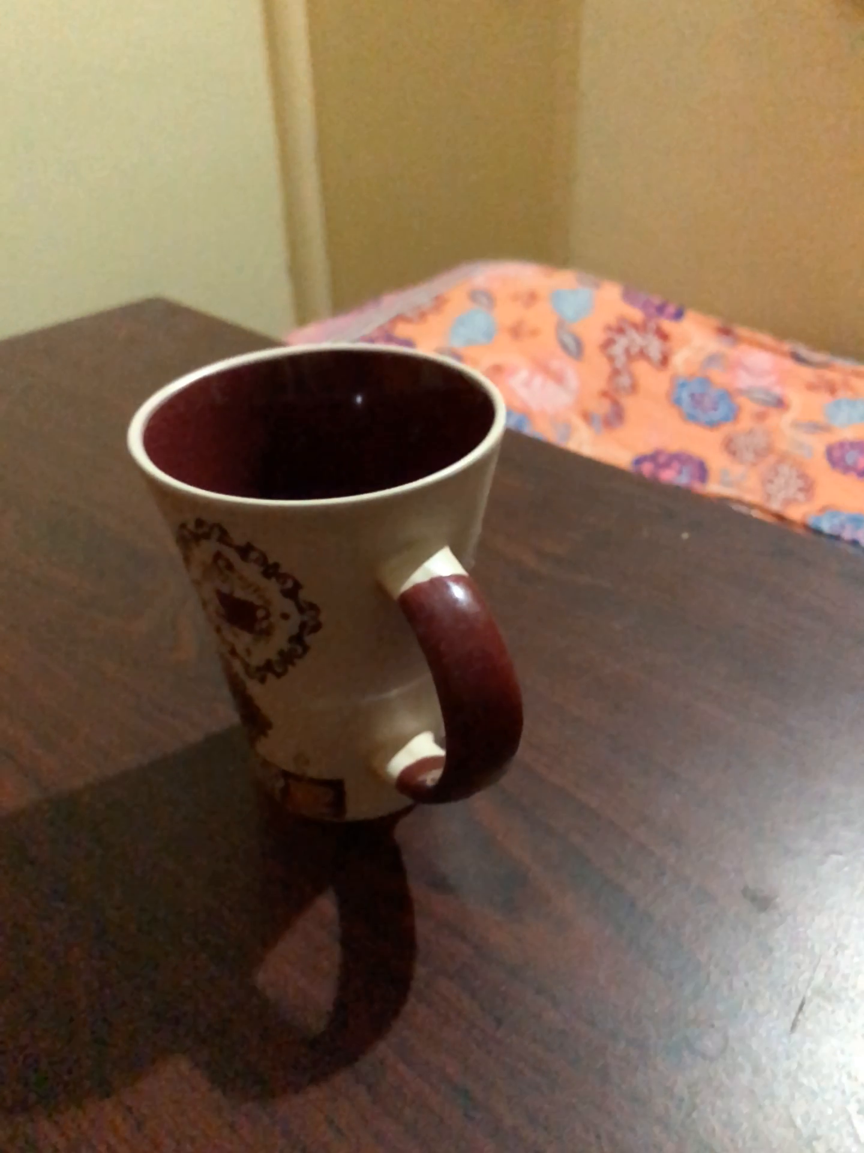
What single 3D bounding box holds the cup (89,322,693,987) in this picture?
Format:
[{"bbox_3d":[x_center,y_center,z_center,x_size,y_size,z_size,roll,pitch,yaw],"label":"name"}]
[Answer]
[{"bbox_3d":[-0.017,0.008,0.255,0.100,0.099,0.120,-17,36,-22],"label":"cup"}]
